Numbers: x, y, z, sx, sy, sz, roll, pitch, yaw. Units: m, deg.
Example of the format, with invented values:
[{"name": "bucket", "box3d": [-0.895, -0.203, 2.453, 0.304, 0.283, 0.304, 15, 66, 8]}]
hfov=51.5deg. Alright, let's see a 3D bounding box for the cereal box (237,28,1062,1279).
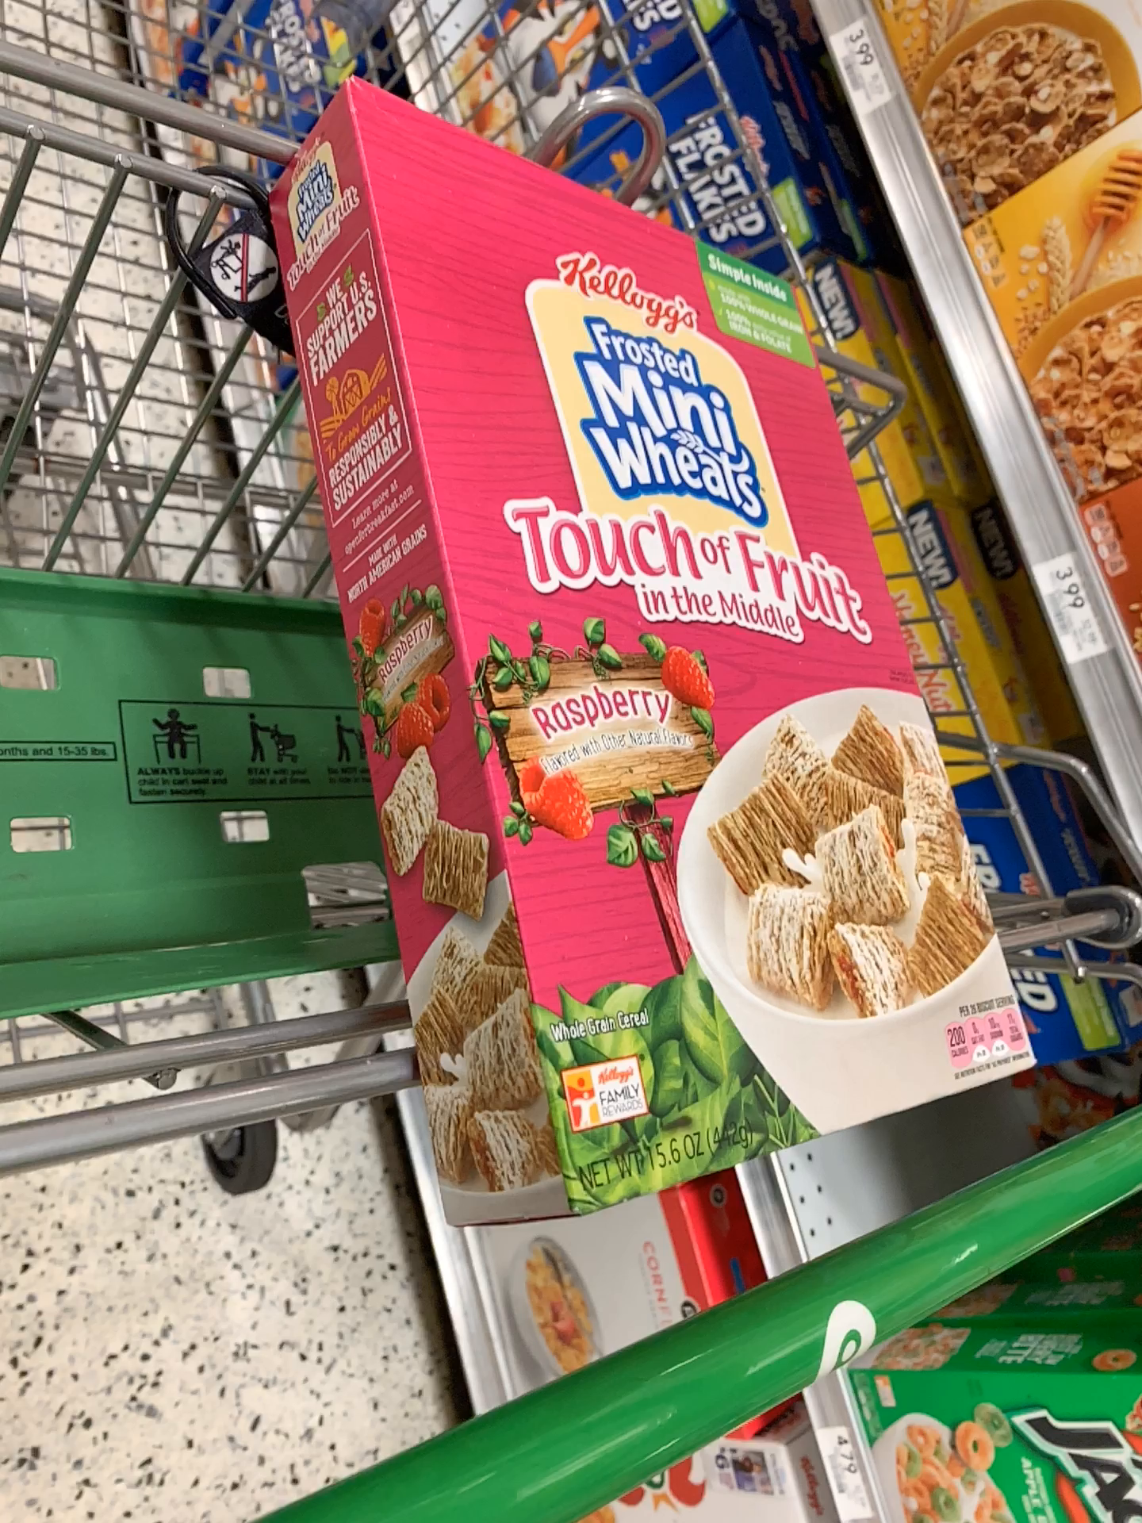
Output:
[{"name": "cereal box", "box3d": [0.028, -0.034, 0.340, 0.201, 0.050, 0.291, 2, 70, -43]}]
